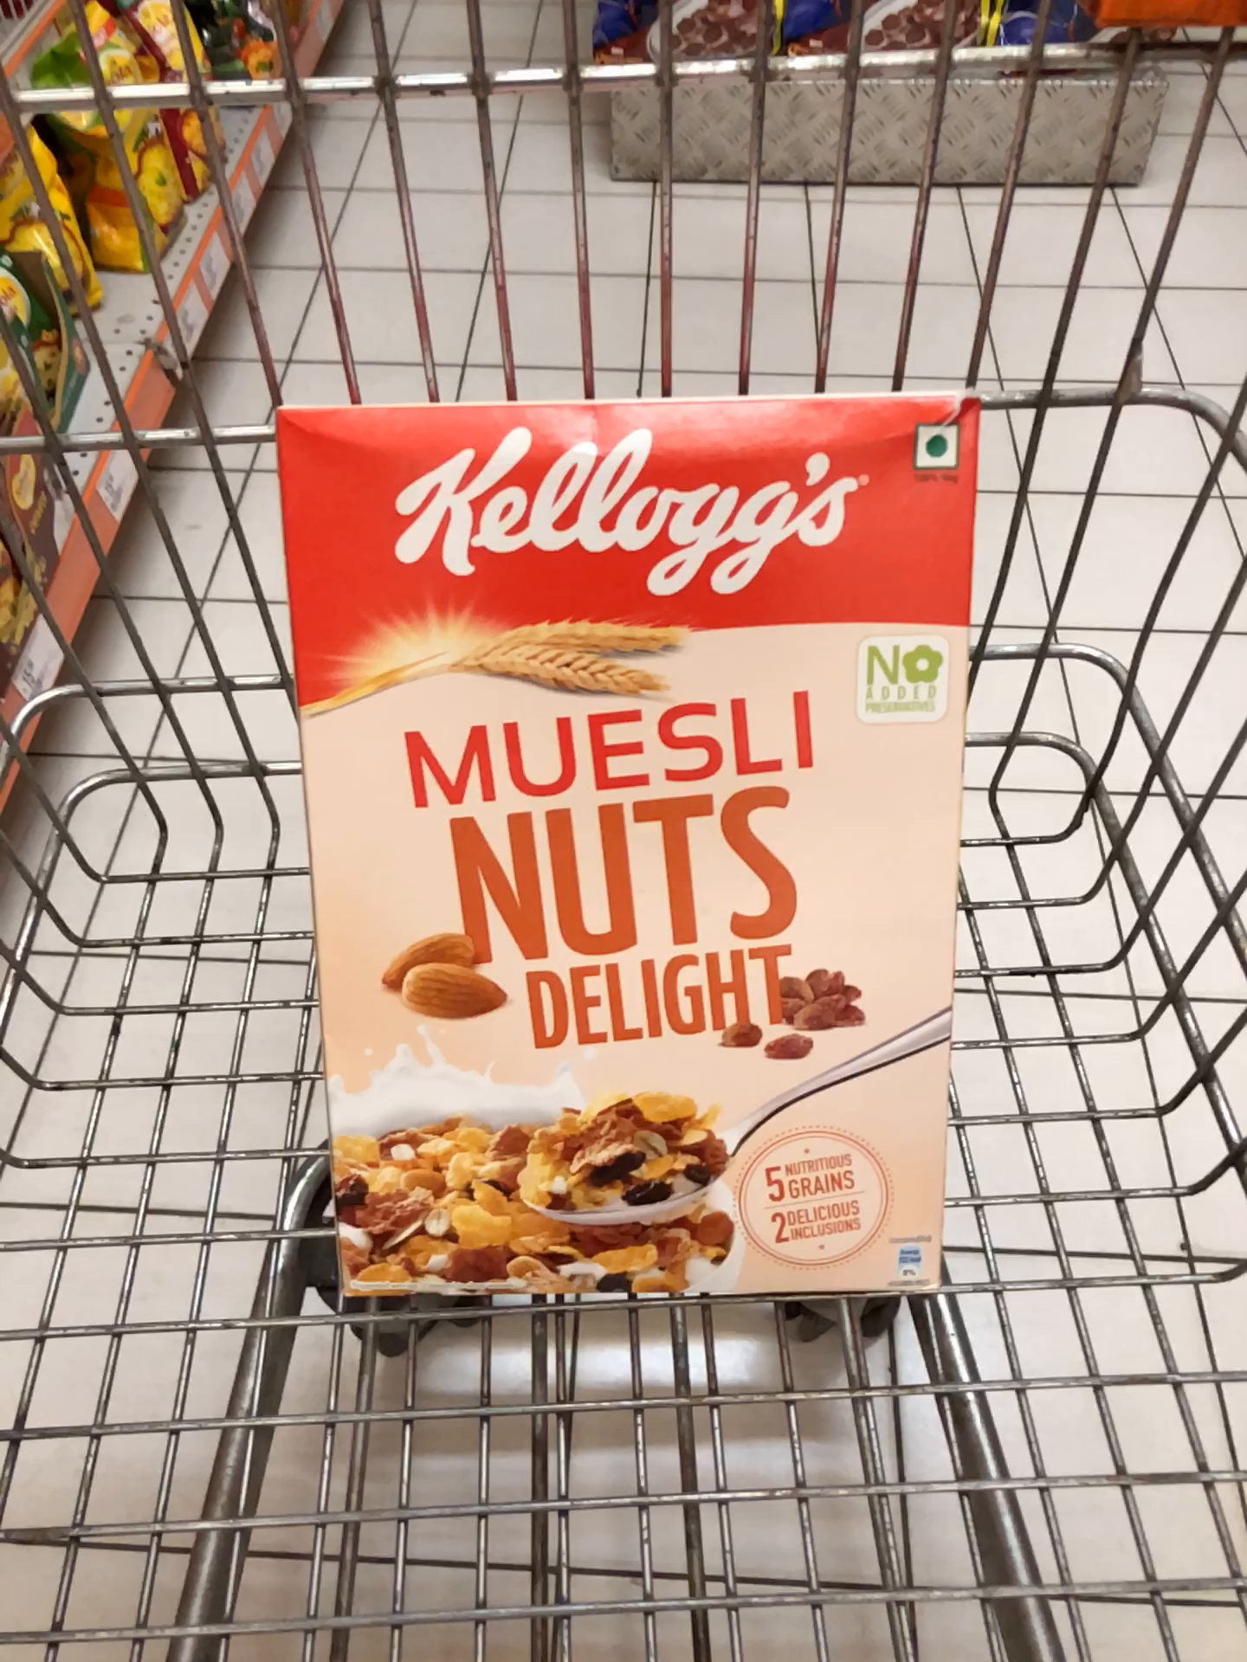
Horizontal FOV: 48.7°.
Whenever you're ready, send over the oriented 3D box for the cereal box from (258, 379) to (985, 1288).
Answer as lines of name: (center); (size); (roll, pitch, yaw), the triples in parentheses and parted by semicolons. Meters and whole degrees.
cereal box: (0.001, 0.002, 0.403); (0.180, 0.249, 0.070); (0, 13, 1)
